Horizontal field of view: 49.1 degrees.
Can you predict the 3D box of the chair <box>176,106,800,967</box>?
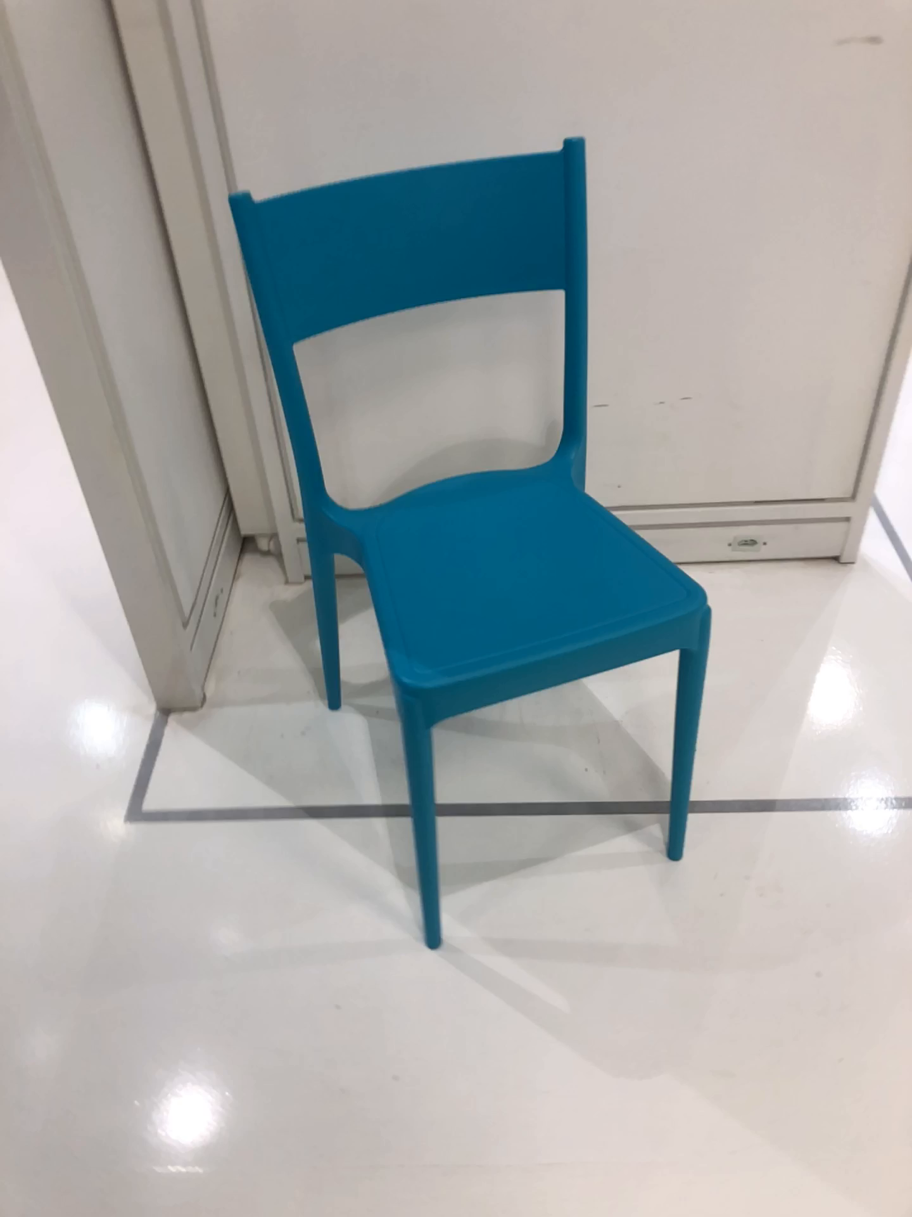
[{"bbox_3d":[0.010,-0.076,1.193,0.430,0.794,0.514,-15,42,-13],"label":"chair"}]
